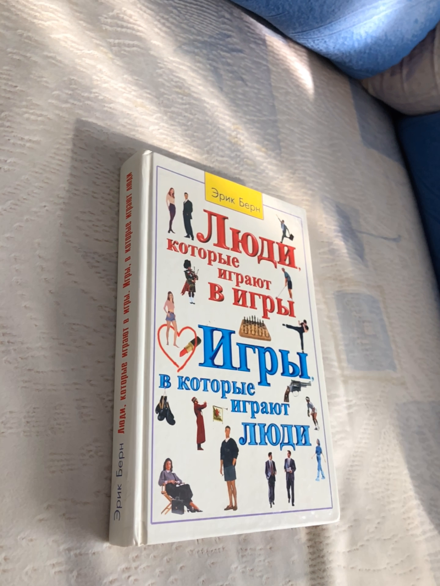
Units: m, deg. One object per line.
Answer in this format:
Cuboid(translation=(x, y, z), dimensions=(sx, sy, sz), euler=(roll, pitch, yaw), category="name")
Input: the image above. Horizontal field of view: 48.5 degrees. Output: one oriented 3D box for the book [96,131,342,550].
Cuboid(translation=(0.003, 0.024, 0.287), dimensions=(0.135, 0.030, 0.211), euler=(13, 64, -35), category="book")
